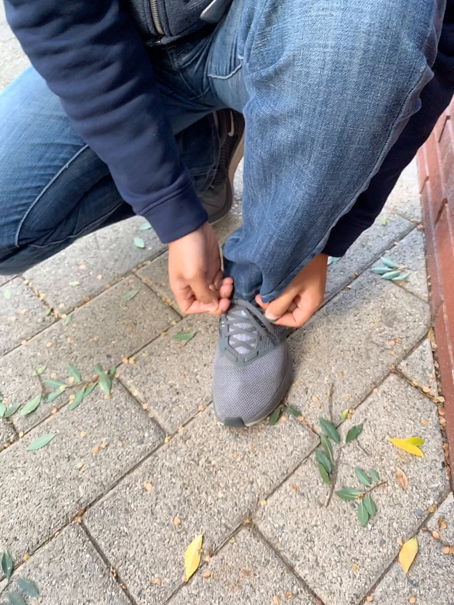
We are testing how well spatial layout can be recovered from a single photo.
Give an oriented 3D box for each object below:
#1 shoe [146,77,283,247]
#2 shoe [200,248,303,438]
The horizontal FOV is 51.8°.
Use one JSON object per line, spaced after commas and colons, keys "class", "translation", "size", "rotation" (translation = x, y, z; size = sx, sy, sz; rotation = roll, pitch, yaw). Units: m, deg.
{"class": "shoe", "translation": [-0.032, -0.261, 0.899], "size": [0.098, 0.274, 0.116], "rotation": [7, 33, -48]}
{"class": "shoe", "translation": [0.046, 0.050, 0.718], "size": [0.111, 0.083, 0.280], "rotation": [7, 52, 9]}
